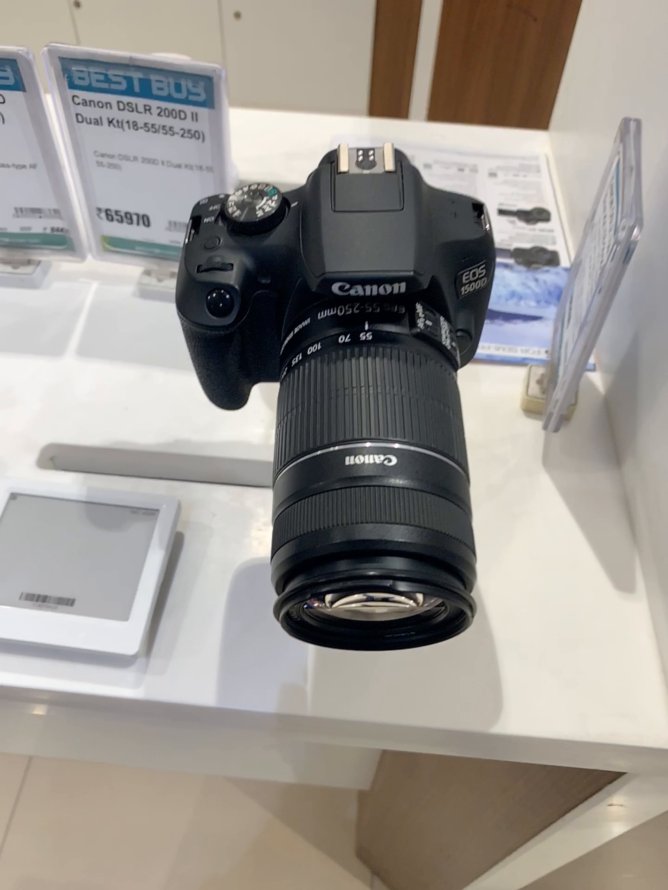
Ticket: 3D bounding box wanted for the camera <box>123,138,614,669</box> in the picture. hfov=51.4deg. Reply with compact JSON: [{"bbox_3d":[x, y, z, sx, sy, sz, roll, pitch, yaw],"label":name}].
[{"bbox_3d":[0.006,-0.016,0.246,0.117,0.090,0.164,0,59,-2],"label":"camera"}]
